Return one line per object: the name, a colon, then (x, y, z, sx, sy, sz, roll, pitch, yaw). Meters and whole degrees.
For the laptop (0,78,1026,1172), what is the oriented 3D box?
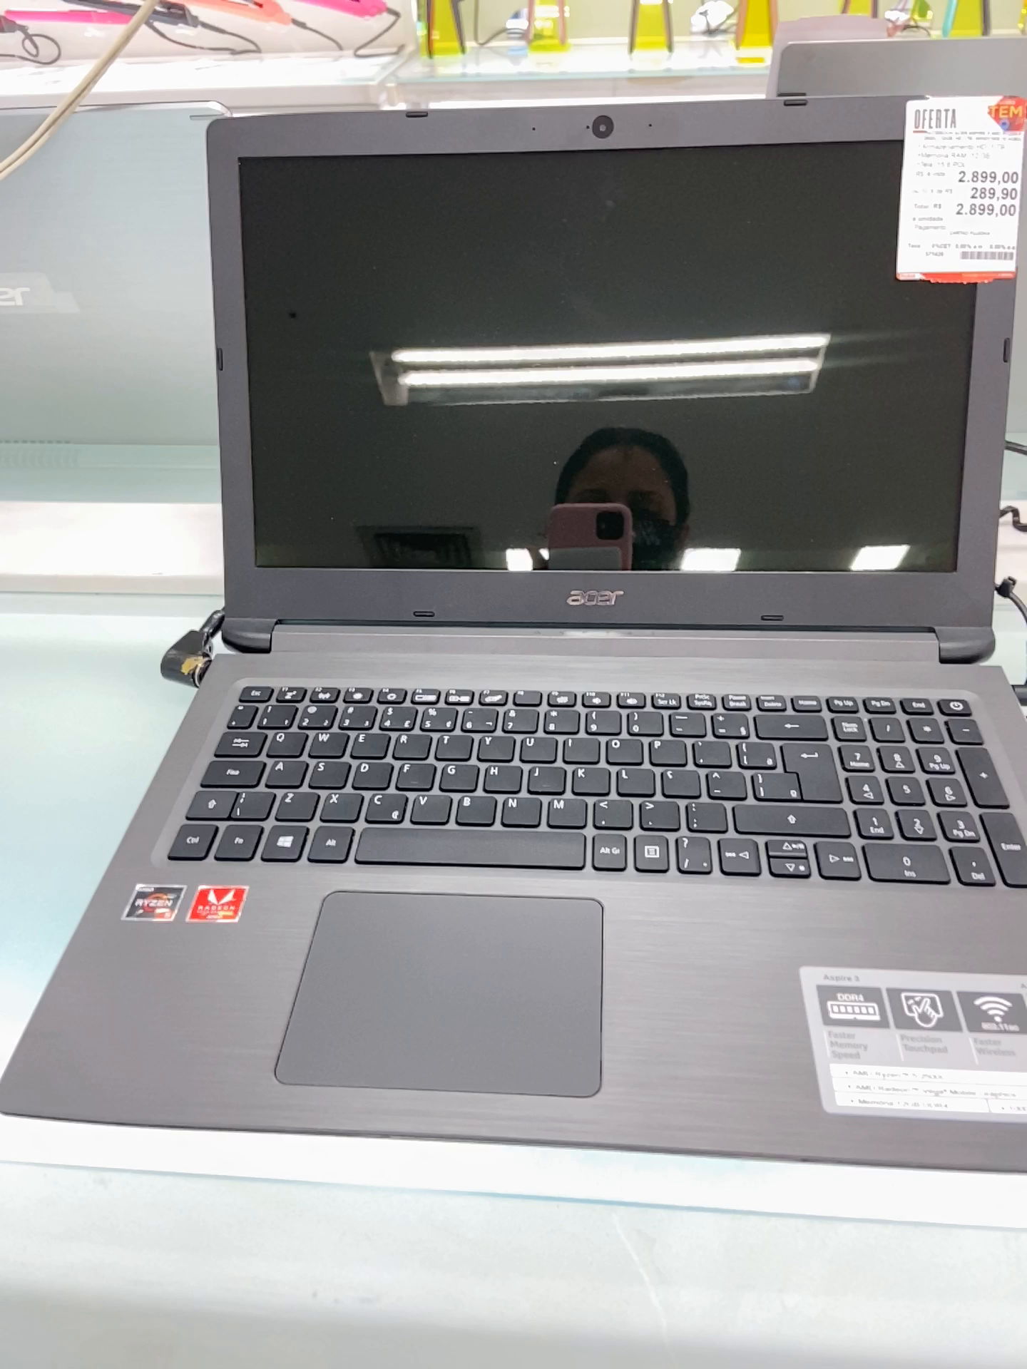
laptop: (0.028, -0.064, 0.372, 0.340, 0.194, 0.355, 1, 38, 6)
